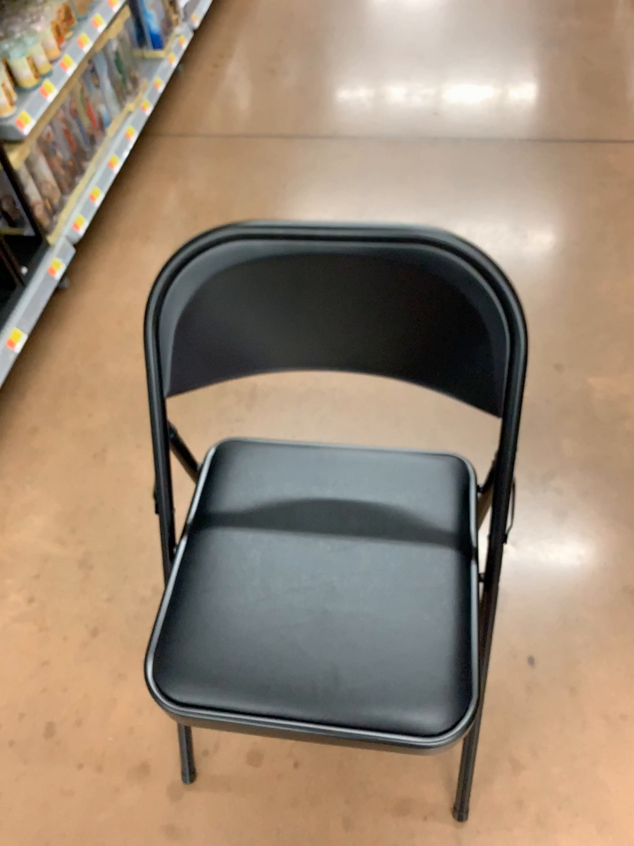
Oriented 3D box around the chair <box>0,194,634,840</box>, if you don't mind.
[{"bbox_3d":[-0.001,0.169,0.802,0.470,0.698,0.471,3,54,7],"label":"chair"}]
